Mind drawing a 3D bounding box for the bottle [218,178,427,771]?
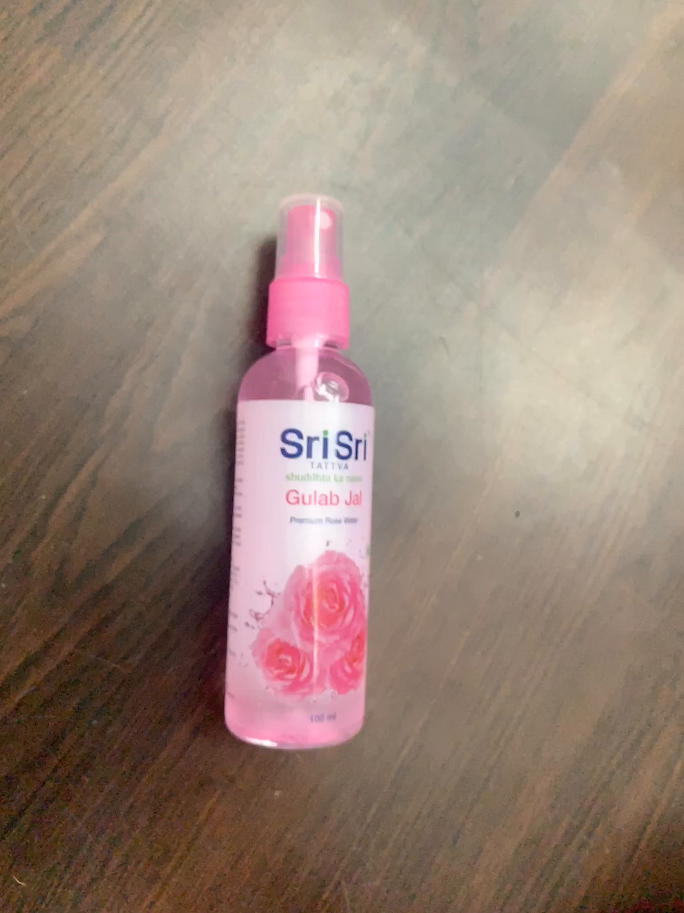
[{"bbox_3d":[-0.007,0.005,0.195,0.040,0.040,0.140,3,89,-16],"label":"bottle"}]
